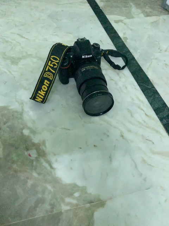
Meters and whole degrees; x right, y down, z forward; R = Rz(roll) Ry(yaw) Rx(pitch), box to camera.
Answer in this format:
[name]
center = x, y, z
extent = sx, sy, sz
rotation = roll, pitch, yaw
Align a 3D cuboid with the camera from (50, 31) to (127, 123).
[camera]
center = -0.005, -0.108, 0.465
extent = 0.139, 0.100, 0.233
rotation = -10, 51, -8
